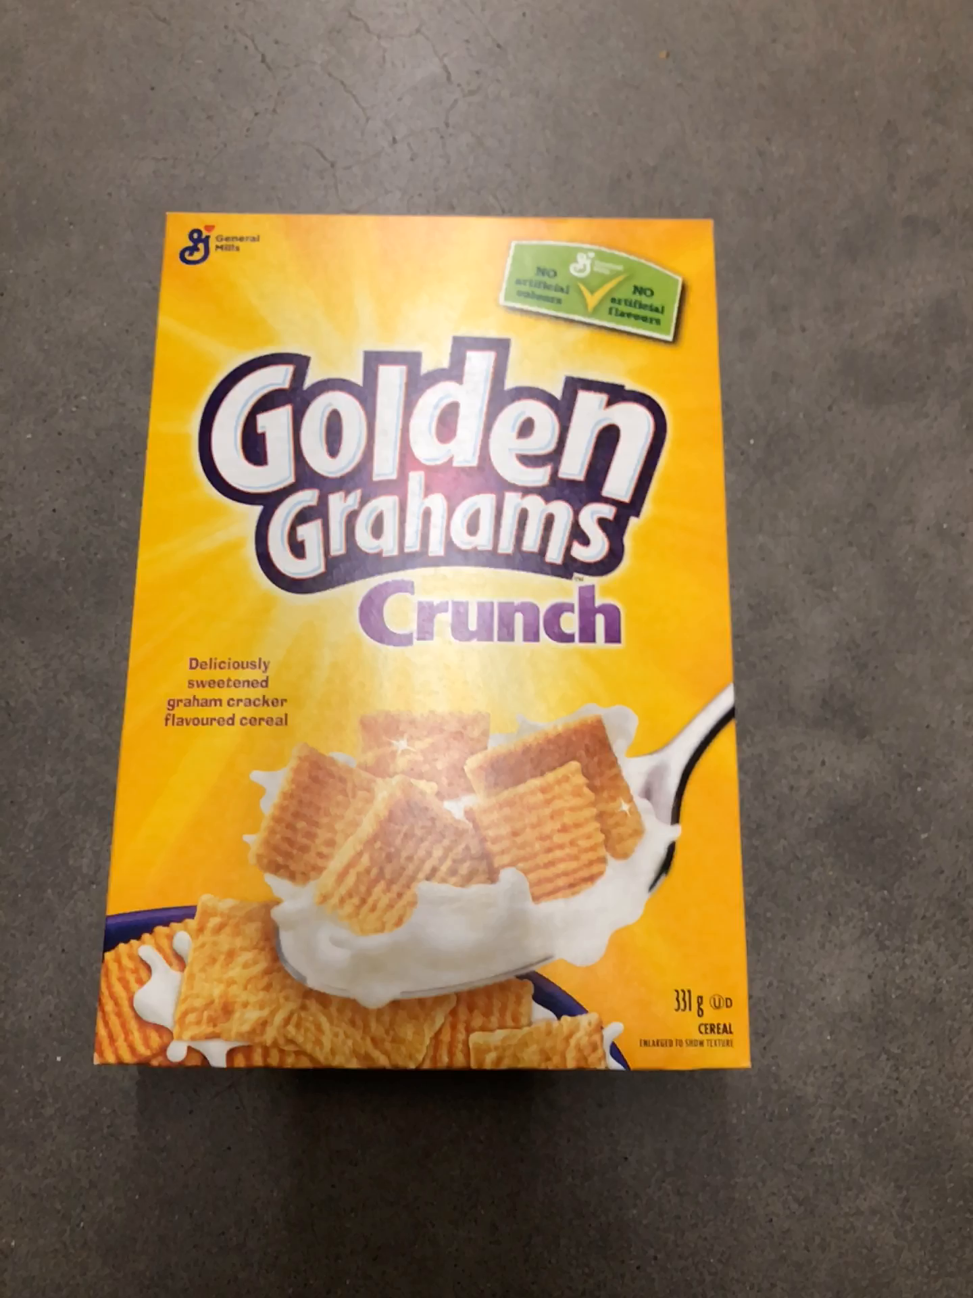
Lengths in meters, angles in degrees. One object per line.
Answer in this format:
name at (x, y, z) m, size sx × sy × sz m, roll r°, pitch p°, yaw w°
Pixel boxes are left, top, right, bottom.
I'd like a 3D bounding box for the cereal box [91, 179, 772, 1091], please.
cereal box at (-0.015, -0.011, 0.382) m, size 0.200 × 0.070 × 0.300 m, roll 0°, pitch 78°, yaw 1°
